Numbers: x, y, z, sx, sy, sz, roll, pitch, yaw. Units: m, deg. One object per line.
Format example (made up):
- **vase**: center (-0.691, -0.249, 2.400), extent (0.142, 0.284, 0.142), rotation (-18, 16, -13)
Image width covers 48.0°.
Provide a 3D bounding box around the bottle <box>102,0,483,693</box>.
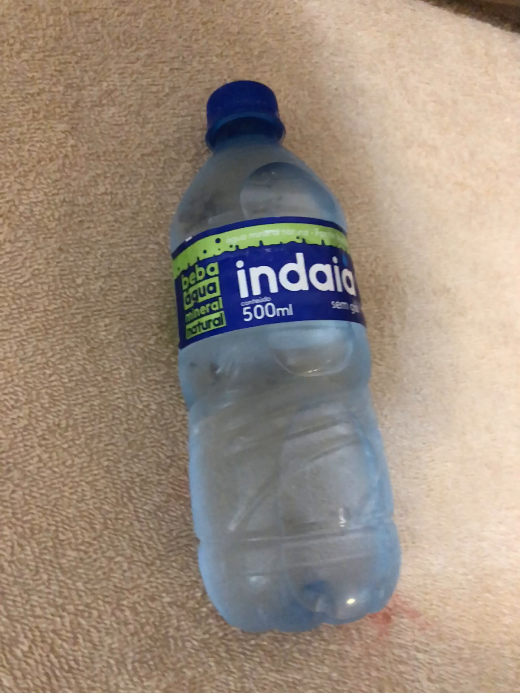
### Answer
- **bottle**: center (0.001, -0.009, 0.201), extent (0.080, 0.050, 0.210), rotation (-4, 75, -24)
